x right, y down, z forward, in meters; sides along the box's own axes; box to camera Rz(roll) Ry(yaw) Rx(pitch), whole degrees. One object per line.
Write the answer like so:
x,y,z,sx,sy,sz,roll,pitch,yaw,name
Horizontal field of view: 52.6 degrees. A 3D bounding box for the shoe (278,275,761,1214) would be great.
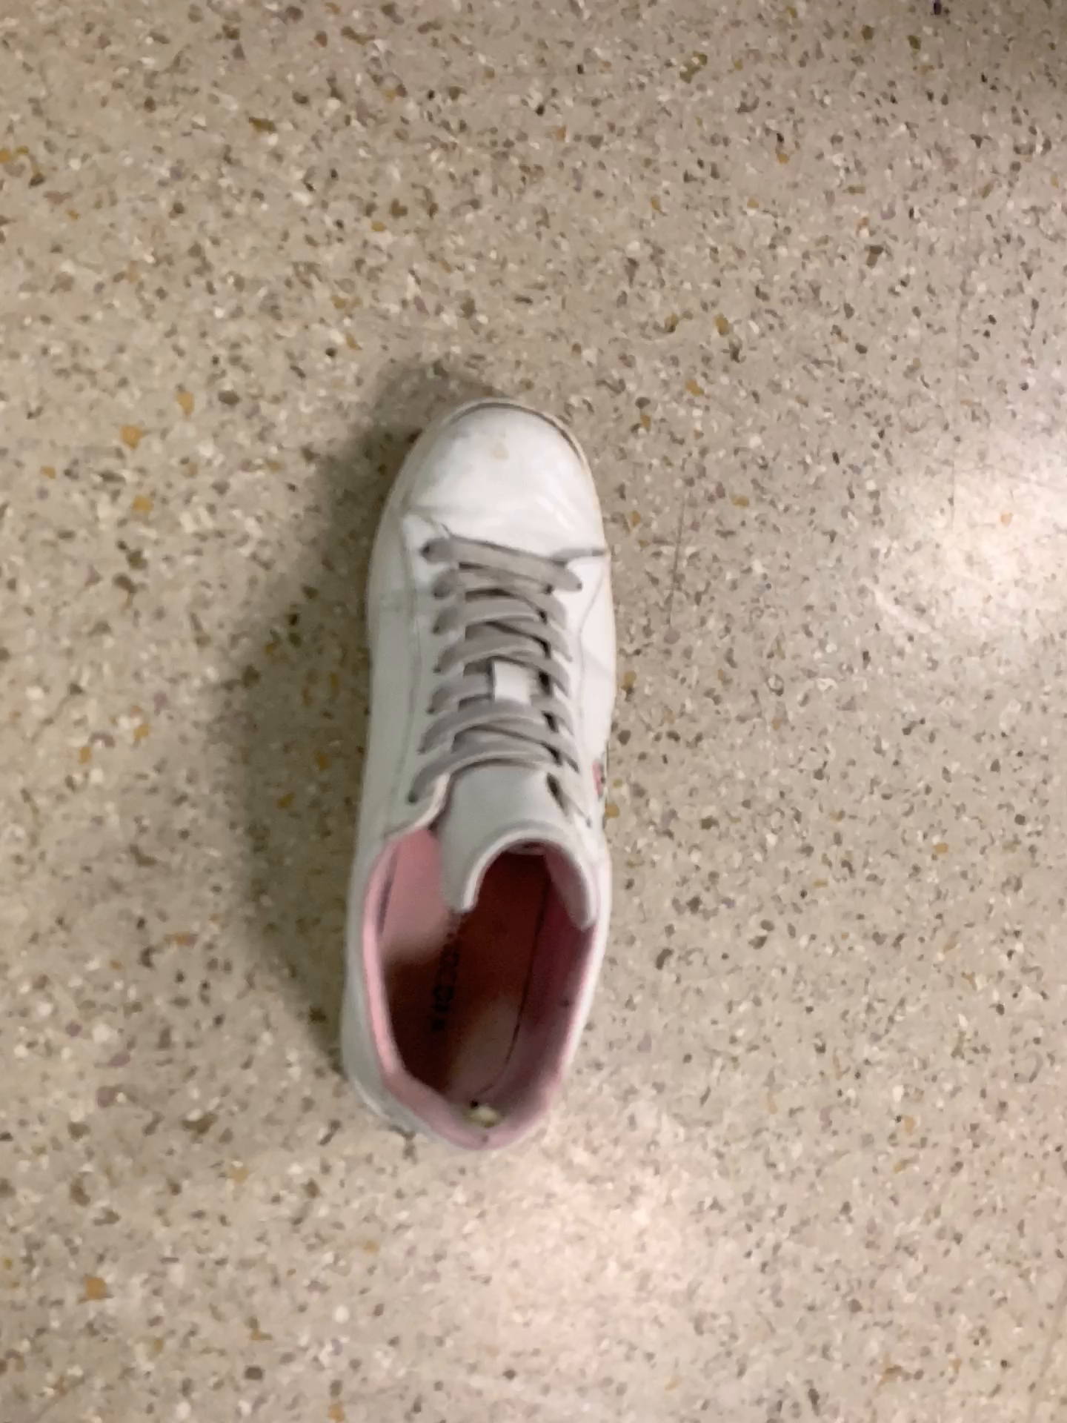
-0.008,0.013,0.350,0.098,0.093,0.255,9,85,-20,shoe
